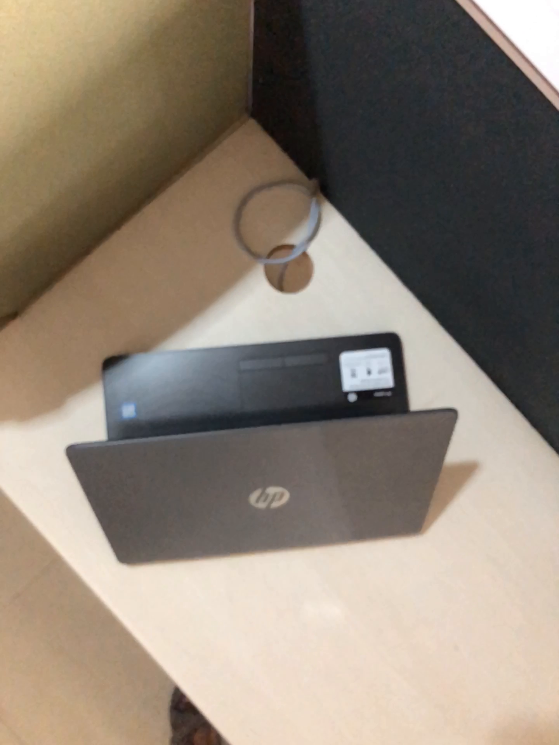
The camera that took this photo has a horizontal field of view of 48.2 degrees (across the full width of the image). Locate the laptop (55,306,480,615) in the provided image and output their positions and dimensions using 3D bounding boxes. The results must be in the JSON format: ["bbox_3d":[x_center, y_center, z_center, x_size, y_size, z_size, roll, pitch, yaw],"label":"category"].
[{"bbox_3d":[-0.015,0.084,0.666,0.361,0.205,0.246,-5,88,-3],"label":"laptop"}]
